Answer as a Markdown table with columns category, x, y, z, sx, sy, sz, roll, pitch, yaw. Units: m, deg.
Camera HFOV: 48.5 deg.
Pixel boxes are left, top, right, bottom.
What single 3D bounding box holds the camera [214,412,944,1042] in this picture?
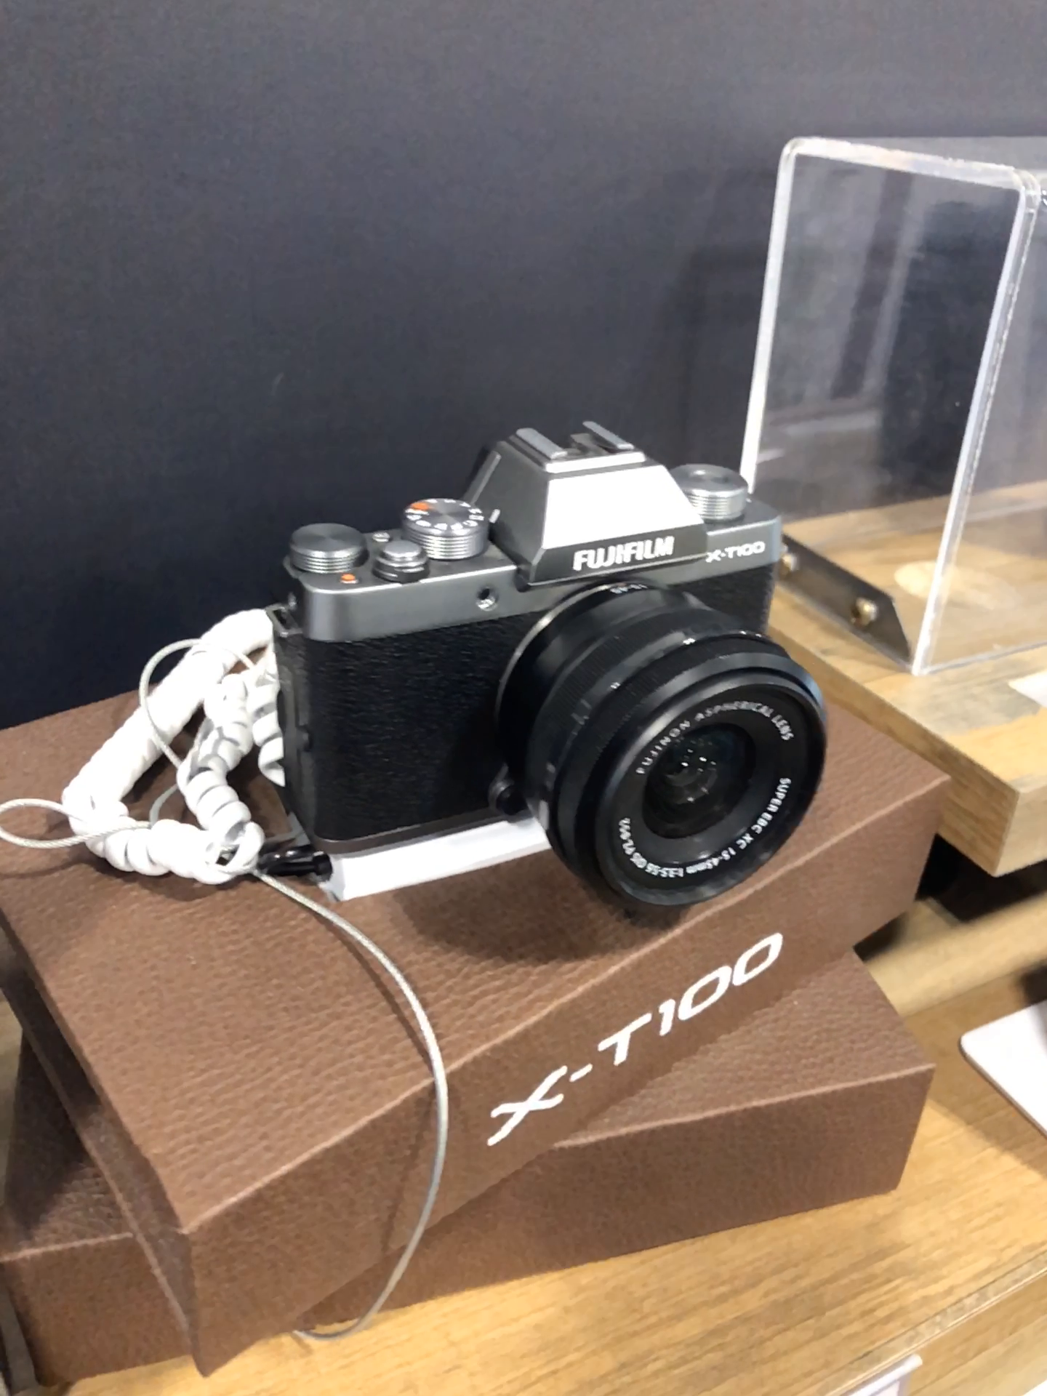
| category | x | y | z | sx | sy | sz | roll | pitch | yaw |
| --- | --- | --- | --- | --- | --- | --- | --- | --- | --- |
| camera | 0.007 | -0.005 | 0.280 | 0.130 | 0.089 | 0.101 | -13 | 32 | -24 |
